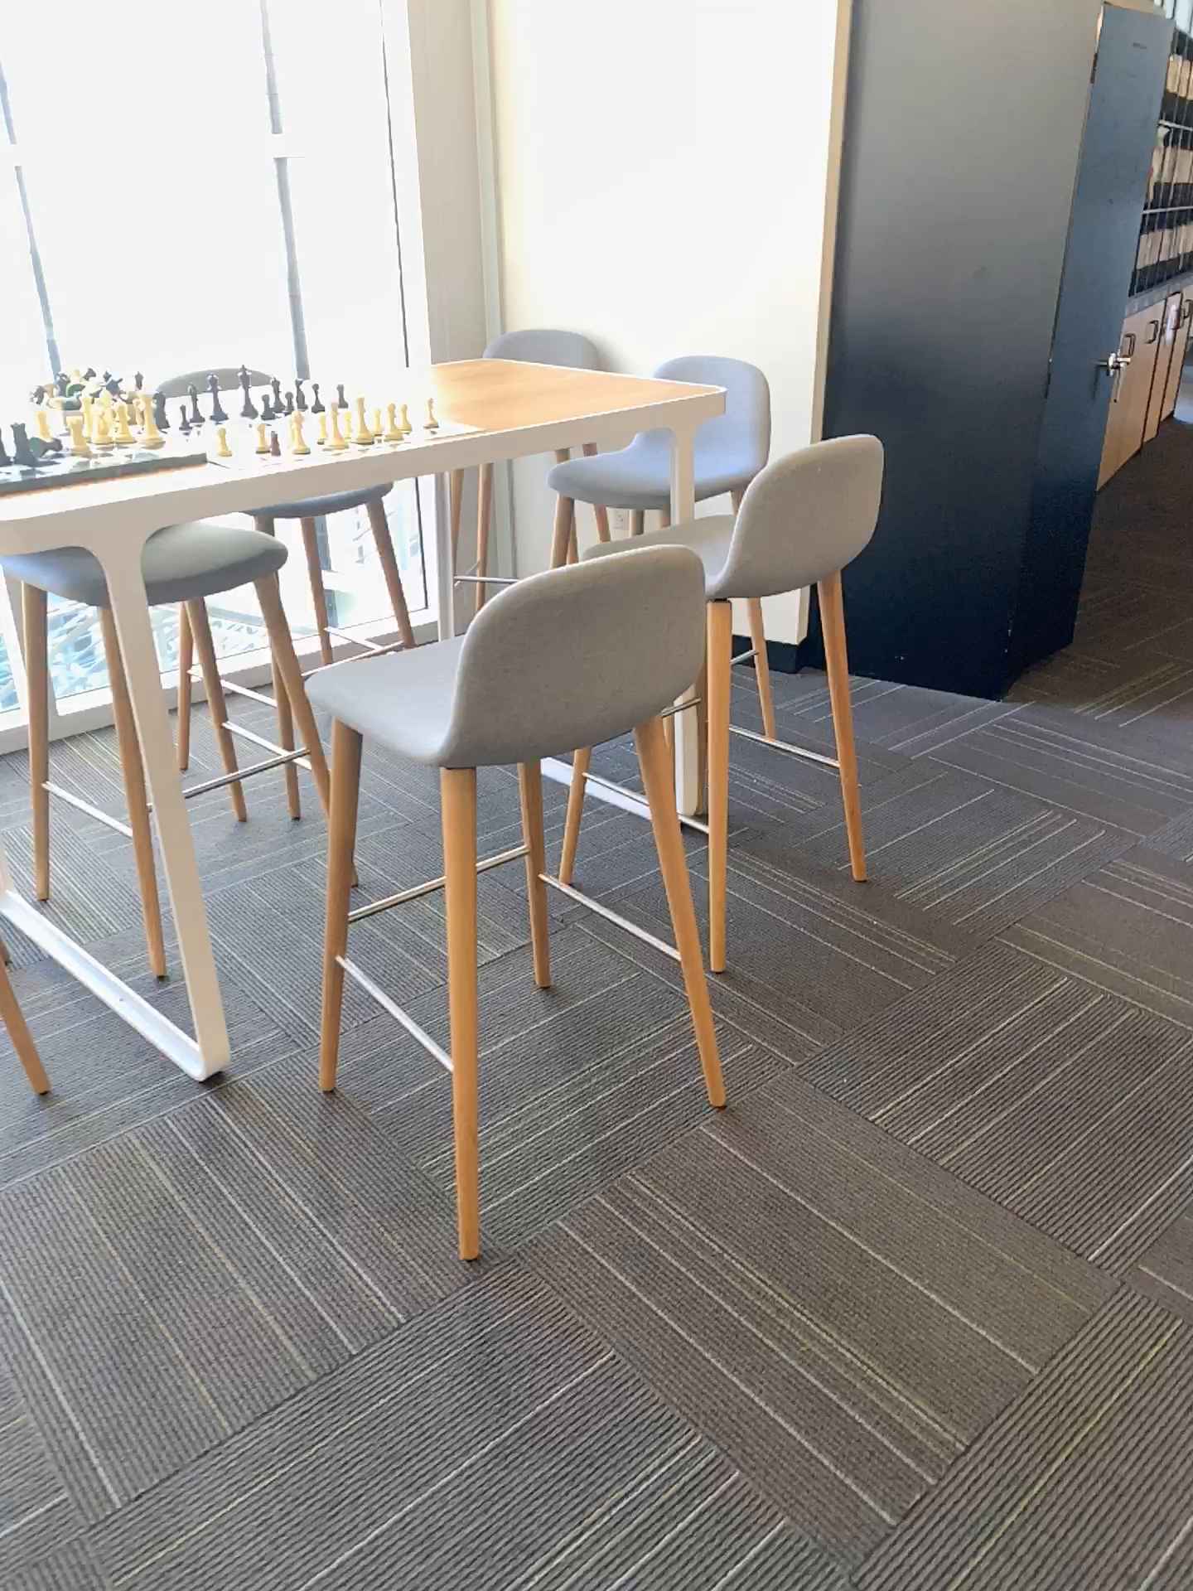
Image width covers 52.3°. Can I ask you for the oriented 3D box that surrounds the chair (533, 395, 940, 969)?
[{"bbox_3d":[0.257,-0.259,2.429,0.552,0.935,0.501,23,34,40],"label":"chair"}]

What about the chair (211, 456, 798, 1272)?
[{"bbox_3d":[-0.127,0.051,1.792,0.551,0.935,0.552,-20,32,-34],"label":"chair"}]

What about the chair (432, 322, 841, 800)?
[{"bbox_3d":[0.091,-0.657,3.169,0.621,0.994,0.783,-23,34,-39],"label":"chair"}]
